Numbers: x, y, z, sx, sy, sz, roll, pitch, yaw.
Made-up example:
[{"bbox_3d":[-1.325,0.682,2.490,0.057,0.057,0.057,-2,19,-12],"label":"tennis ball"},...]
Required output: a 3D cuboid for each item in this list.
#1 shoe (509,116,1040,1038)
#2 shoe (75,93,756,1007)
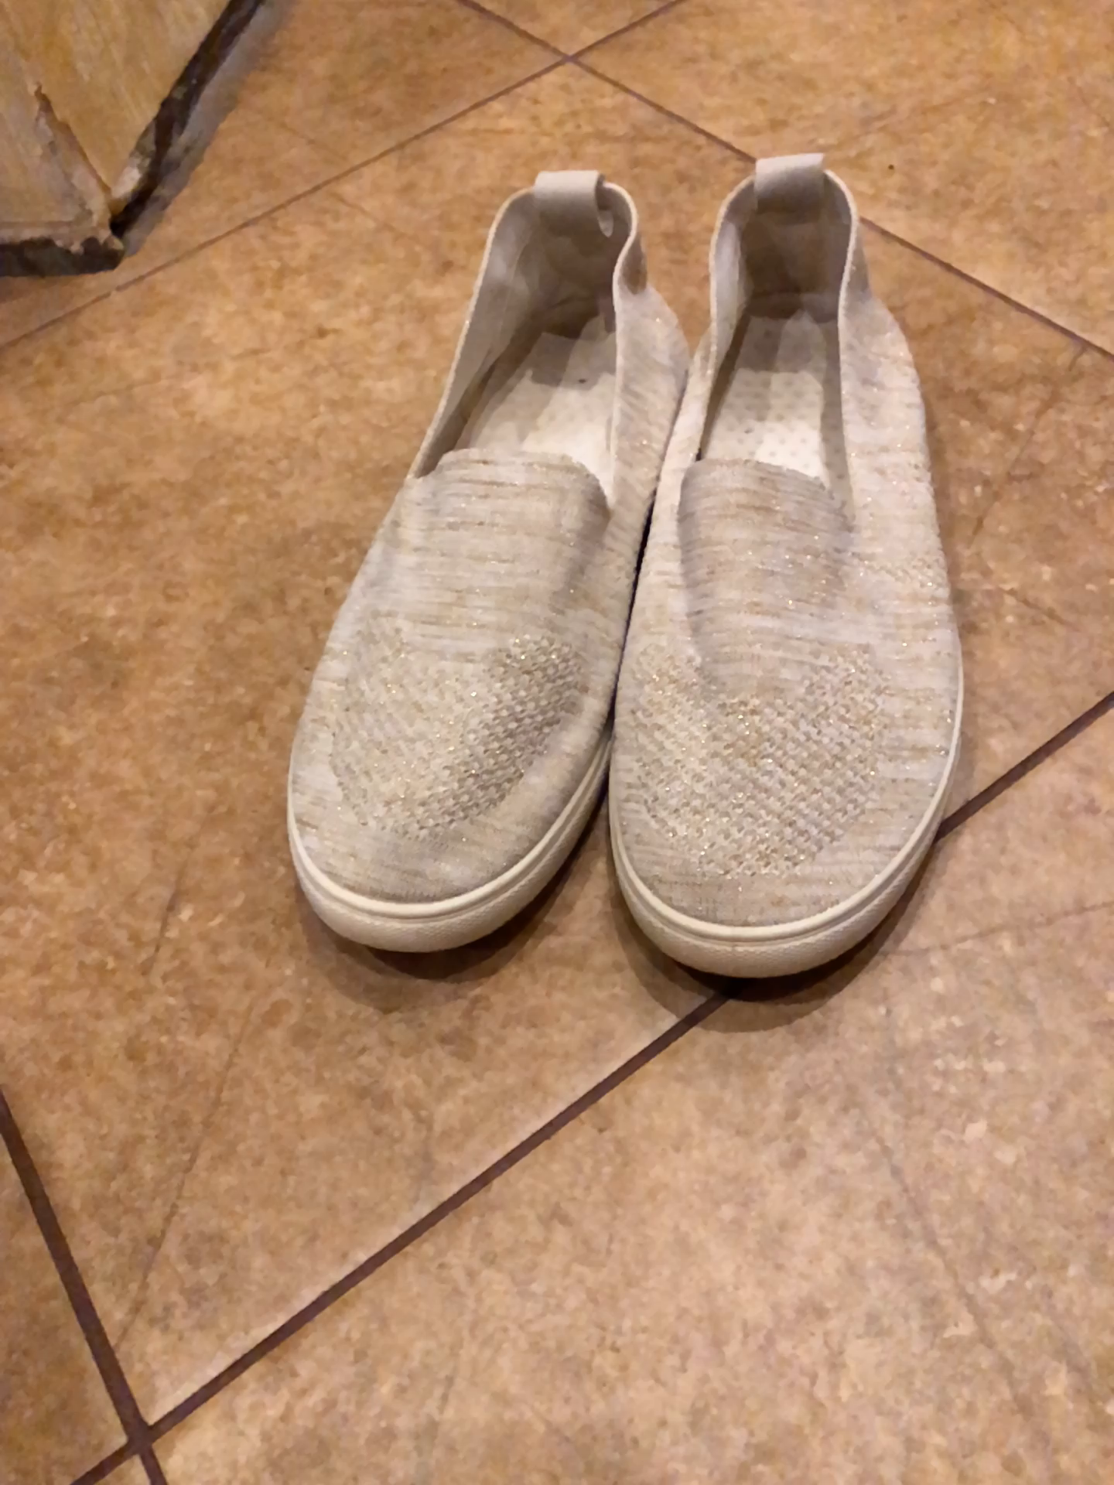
[{"bbox_3d":[0.063,-0.061,0.342,0.100,0.080,0.261,2,55,12],"label":"shoe"},{"bbox_3d":[-0.014,-0.069,0.333,0.090,0.080,0.251,8,57,16],"label":"shoe"}]
